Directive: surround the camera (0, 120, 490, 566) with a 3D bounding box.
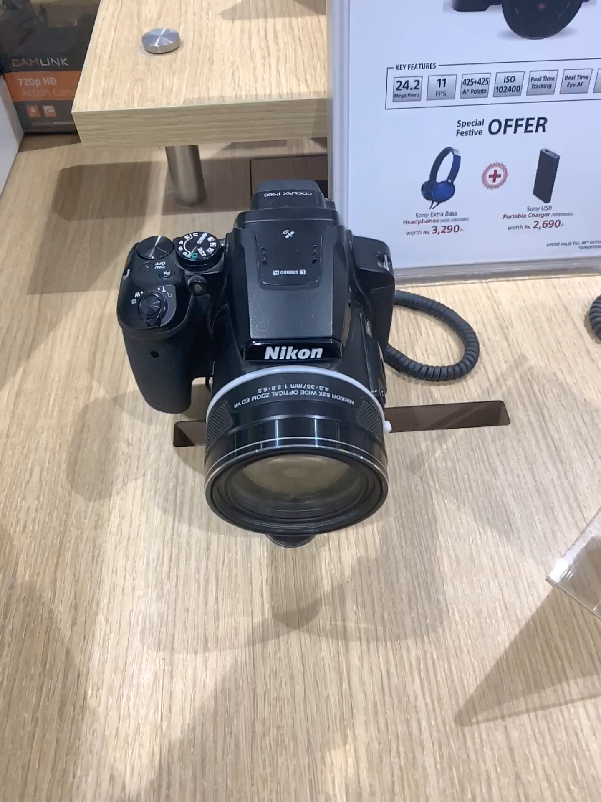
[{"bbox_3d":[-0.022,-0.027,0.249,0.140,0.090,0.150,-4,53,-1],"label":"camera"}]
